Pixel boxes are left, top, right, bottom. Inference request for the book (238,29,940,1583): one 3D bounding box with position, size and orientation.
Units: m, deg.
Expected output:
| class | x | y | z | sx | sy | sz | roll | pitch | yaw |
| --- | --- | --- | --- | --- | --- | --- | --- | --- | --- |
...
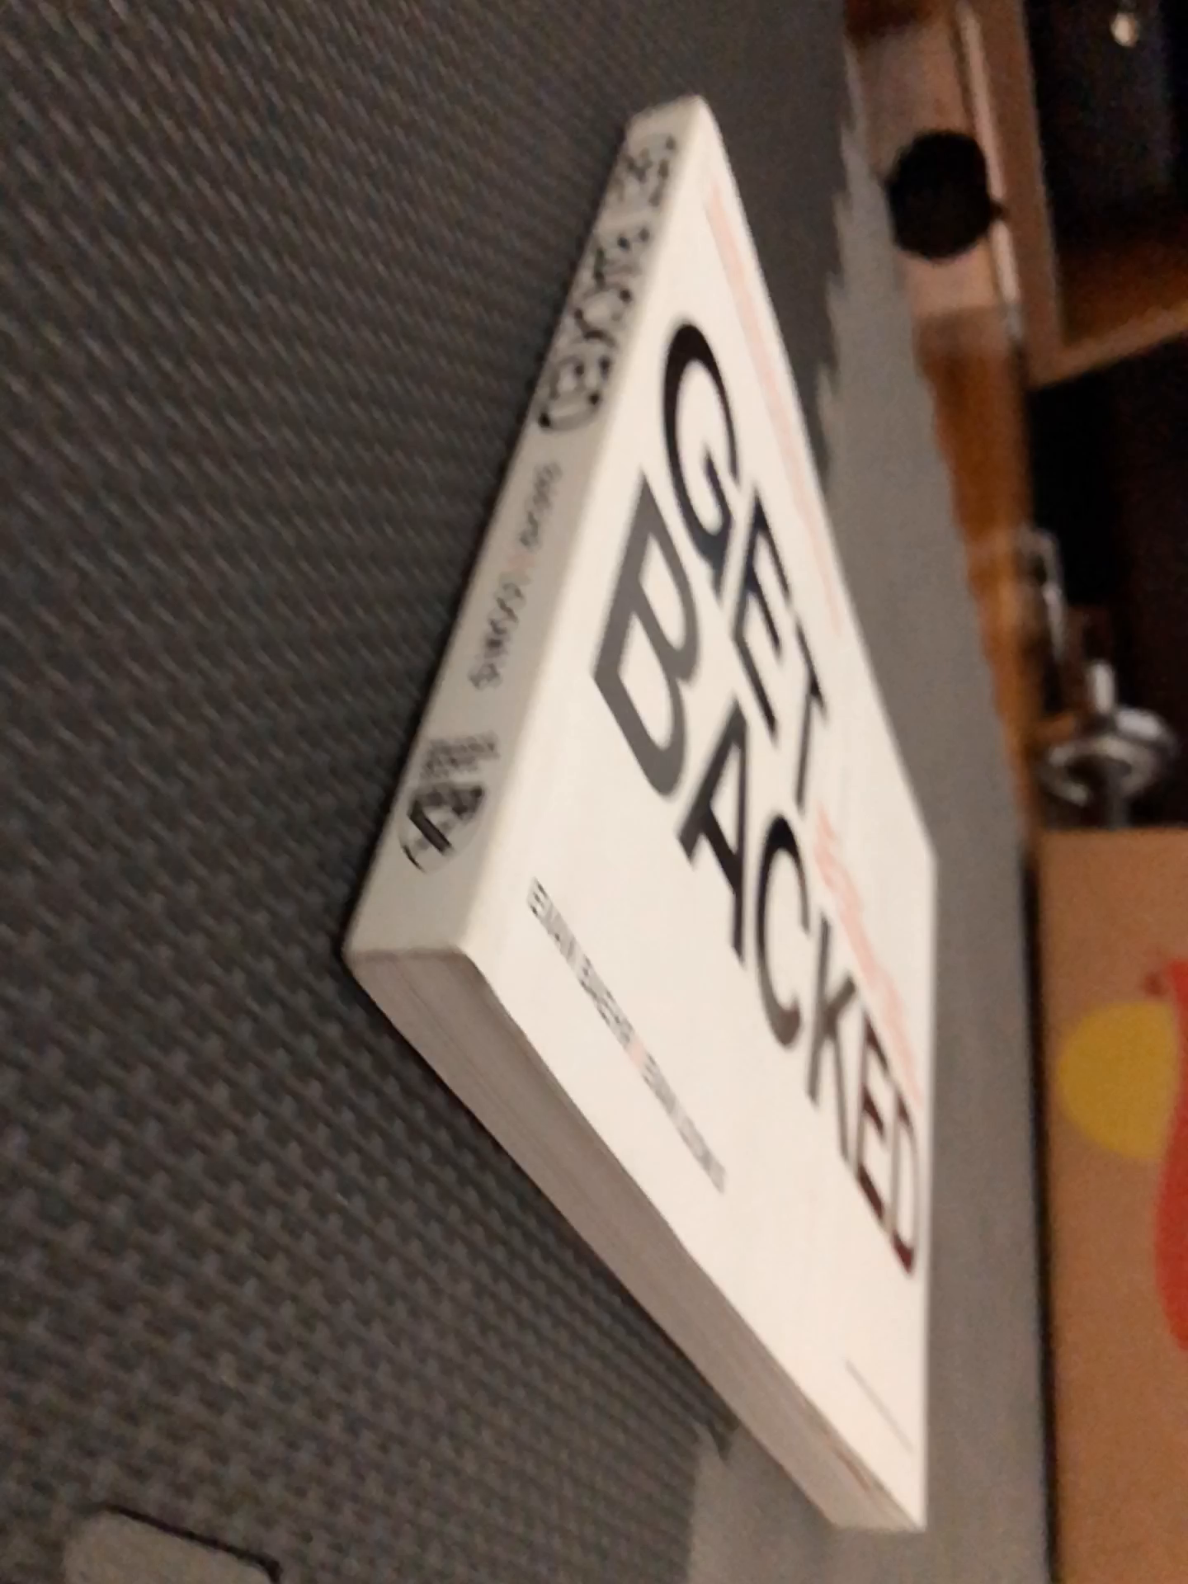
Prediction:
| class | x | y | z | sx | sy | sz | roll | pitch | yaw |
| --- | --- | --- | --- | --- | --- | --- | --- | --- | --- |
| book | 0.038 | 0.020 | 0.284 | 0.260 | 0.020 | 0.211 | 61 | 32 | -44 |
